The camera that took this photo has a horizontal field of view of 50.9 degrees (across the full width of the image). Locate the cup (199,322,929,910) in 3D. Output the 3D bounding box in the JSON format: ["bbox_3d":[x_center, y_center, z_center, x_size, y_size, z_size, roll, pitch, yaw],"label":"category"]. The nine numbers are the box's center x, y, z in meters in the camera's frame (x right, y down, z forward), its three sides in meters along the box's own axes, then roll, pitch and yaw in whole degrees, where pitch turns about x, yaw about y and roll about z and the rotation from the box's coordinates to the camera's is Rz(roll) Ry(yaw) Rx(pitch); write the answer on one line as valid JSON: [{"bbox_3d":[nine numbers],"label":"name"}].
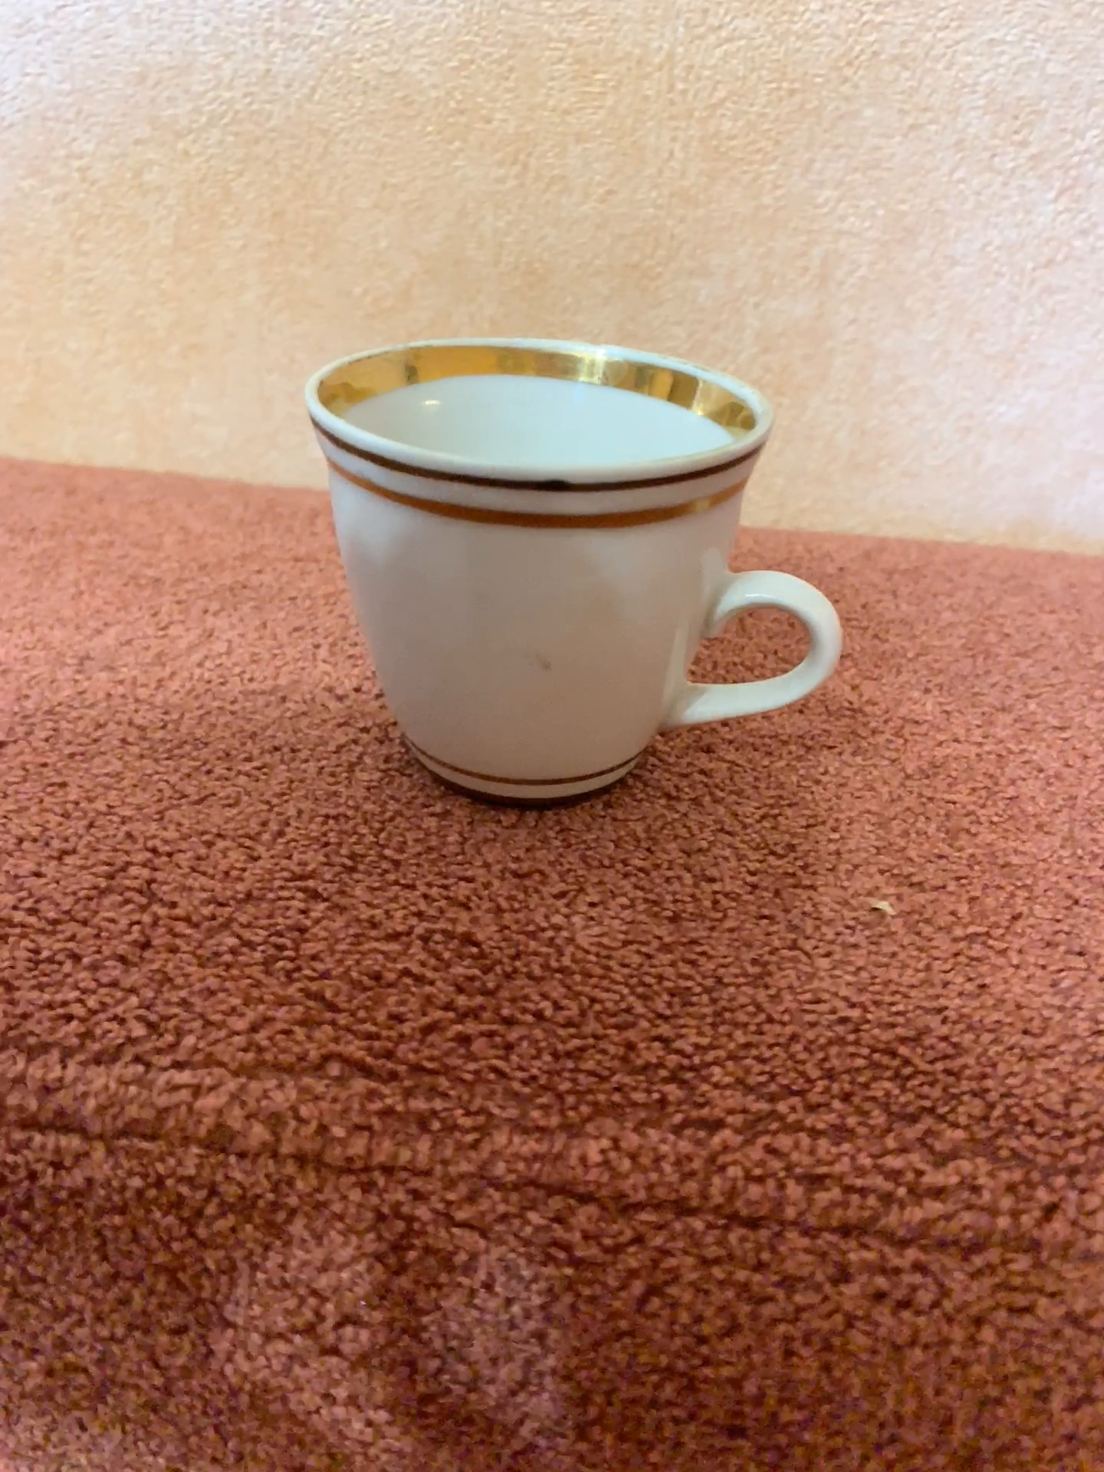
[{"bbox_3d":[0.005,-0.021,0.157,0.078,0.048,0.055,11,33,14],"label":"cup"}]
